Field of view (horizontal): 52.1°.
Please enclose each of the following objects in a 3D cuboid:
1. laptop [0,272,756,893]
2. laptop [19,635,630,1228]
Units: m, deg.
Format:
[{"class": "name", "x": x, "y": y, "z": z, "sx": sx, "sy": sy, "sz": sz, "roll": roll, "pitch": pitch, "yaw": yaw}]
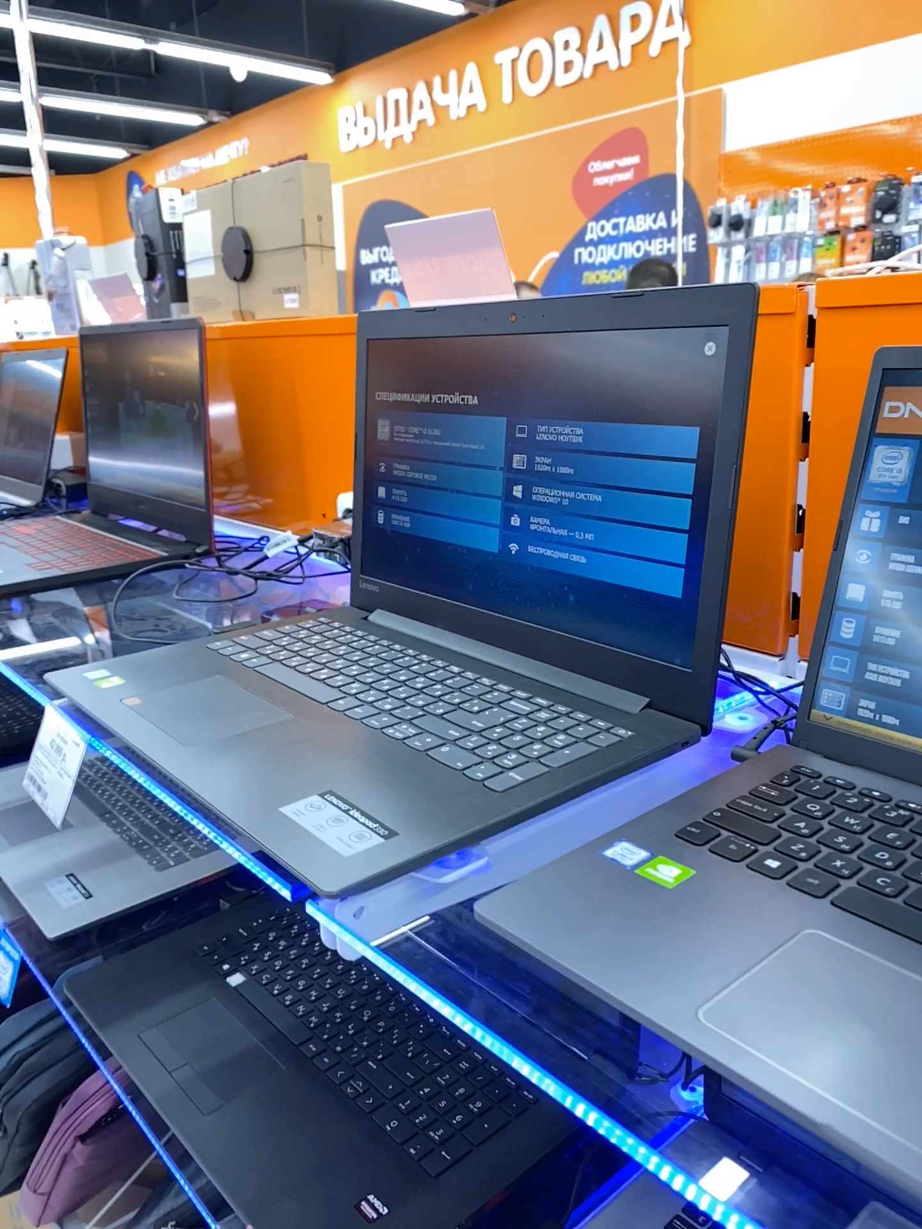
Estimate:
[{"class": "laptop", "x": -0.068, "y": -0.067, "z": 0.594, "sx": 0.289, "sy": 0.245, "sz": 0.378, "roll": -14, "pitch": 19, "yaw": -39}, {"class": "laptop", "x": -0.114, "y": 0.206, "z": 0.729, "sx": 0.271, "sy": 0.263, "sz": 0.401, "roll": -13, "pitch": 19, "yaw": -42}]
